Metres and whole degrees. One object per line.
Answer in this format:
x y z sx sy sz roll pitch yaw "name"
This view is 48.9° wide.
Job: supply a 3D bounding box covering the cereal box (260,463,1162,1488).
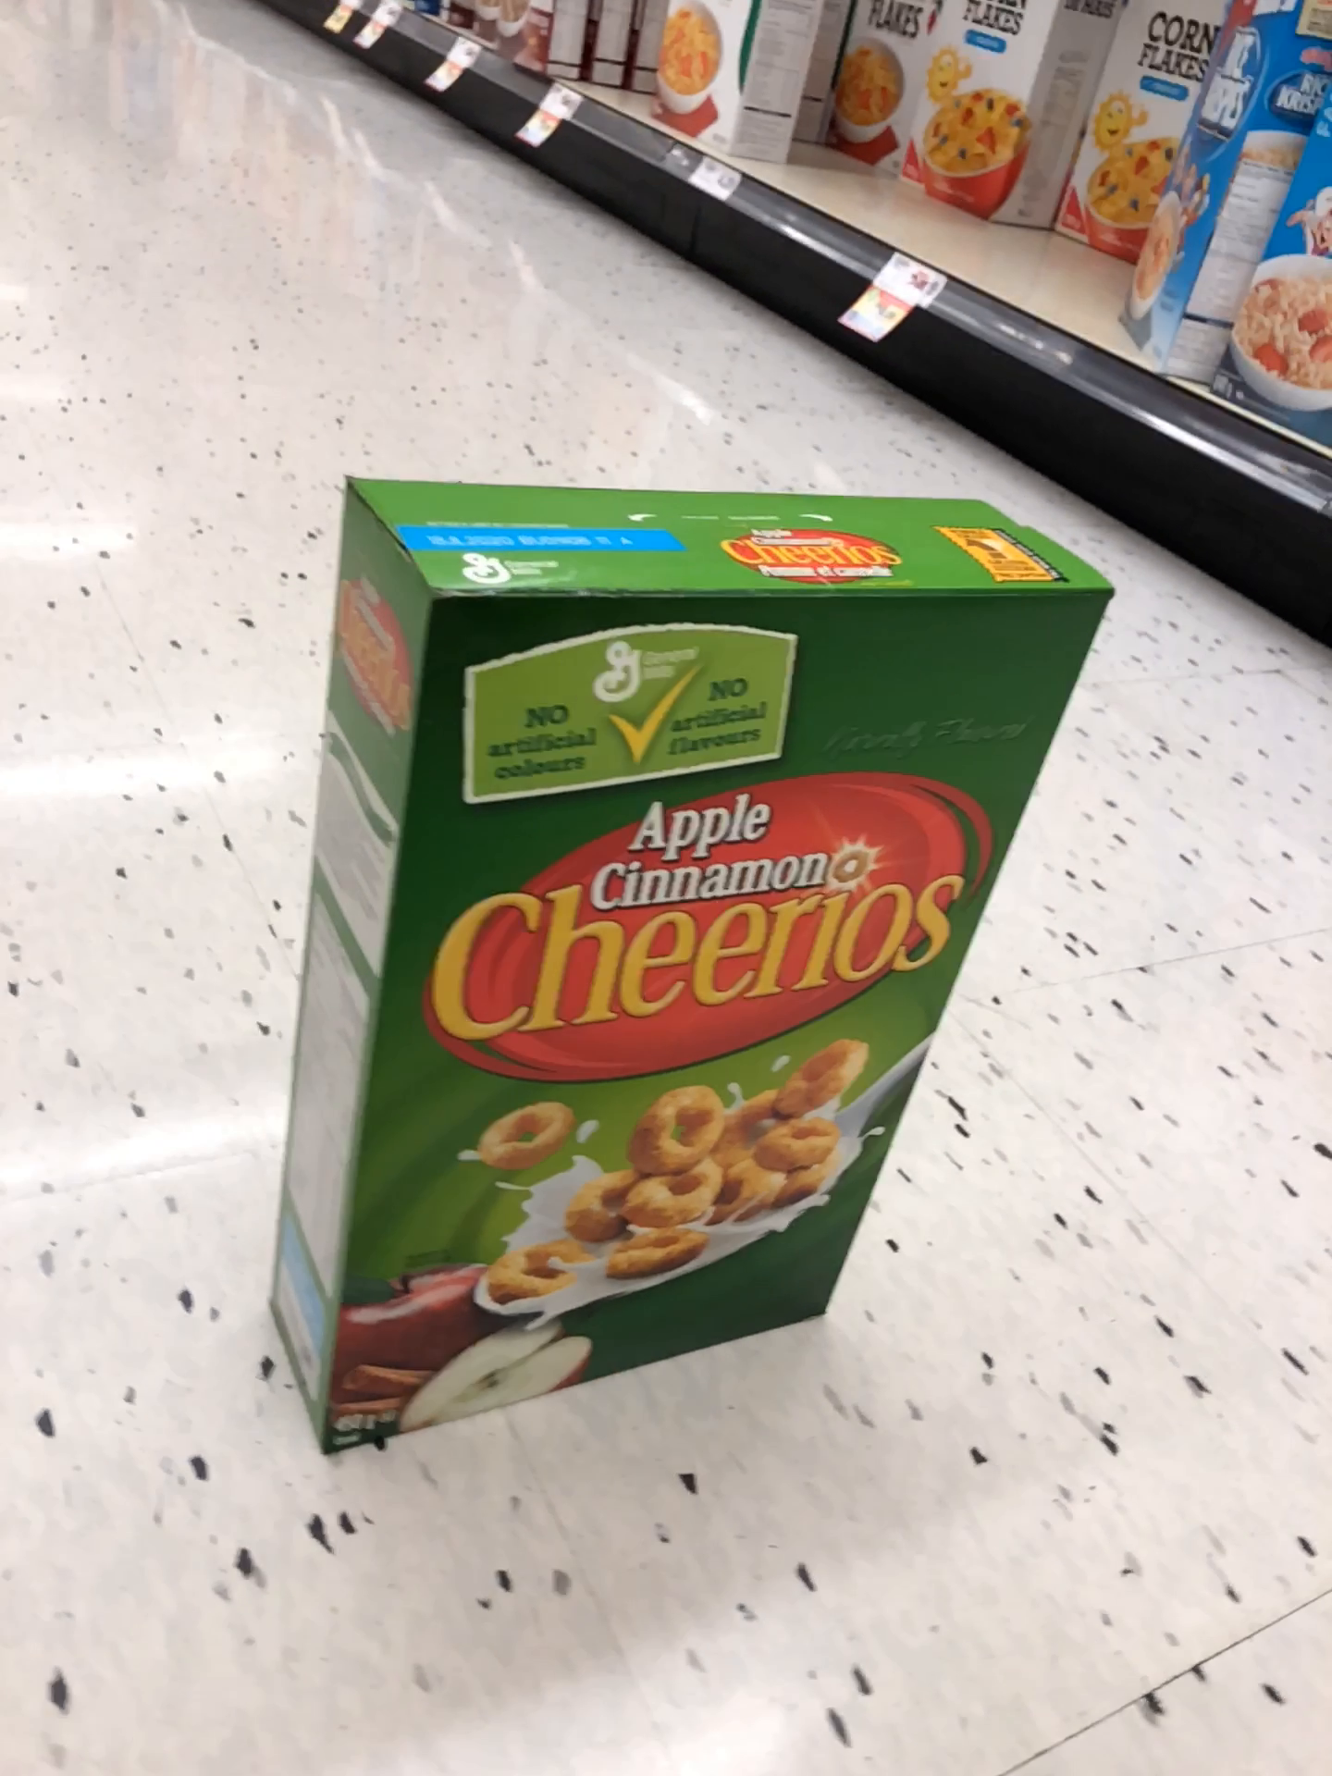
-0.003 0.031 0.412 0.190 0.278 0.060 -6 38 -29 "cereal box"
